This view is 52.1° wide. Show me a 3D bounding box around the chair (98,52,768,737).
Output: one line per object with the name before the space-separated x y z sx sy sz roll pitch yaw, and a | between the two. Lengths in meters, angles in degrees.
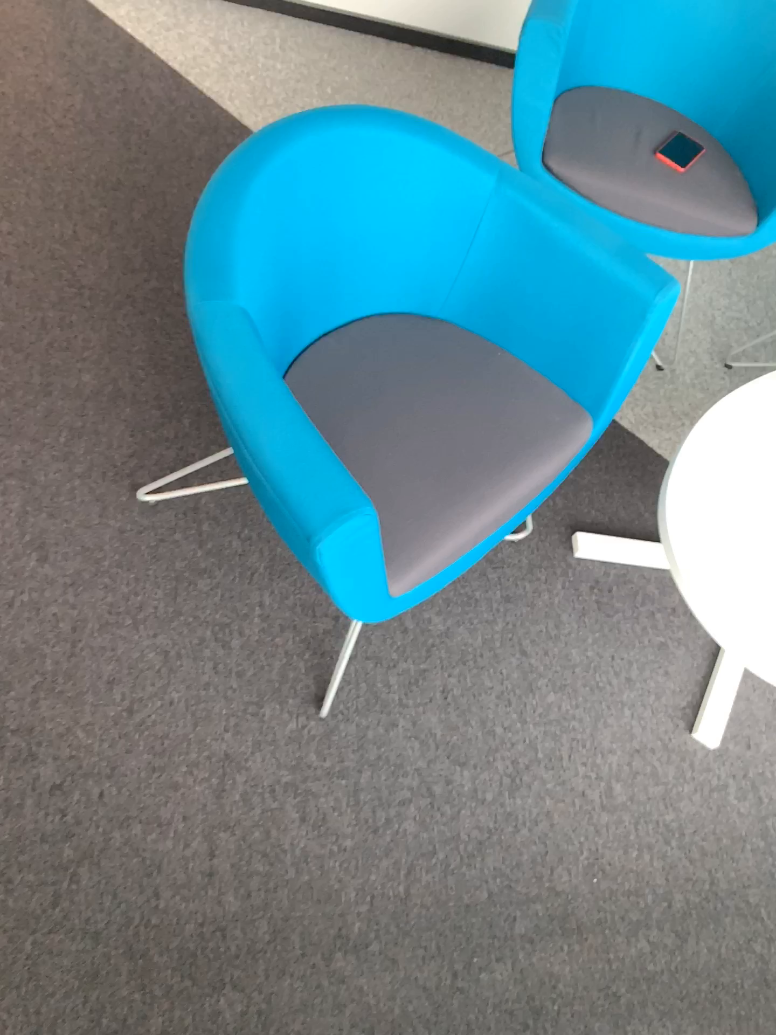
chair | 0.012 -0.184 1.395 0.713 0.757 0.640 -36 77 -30
